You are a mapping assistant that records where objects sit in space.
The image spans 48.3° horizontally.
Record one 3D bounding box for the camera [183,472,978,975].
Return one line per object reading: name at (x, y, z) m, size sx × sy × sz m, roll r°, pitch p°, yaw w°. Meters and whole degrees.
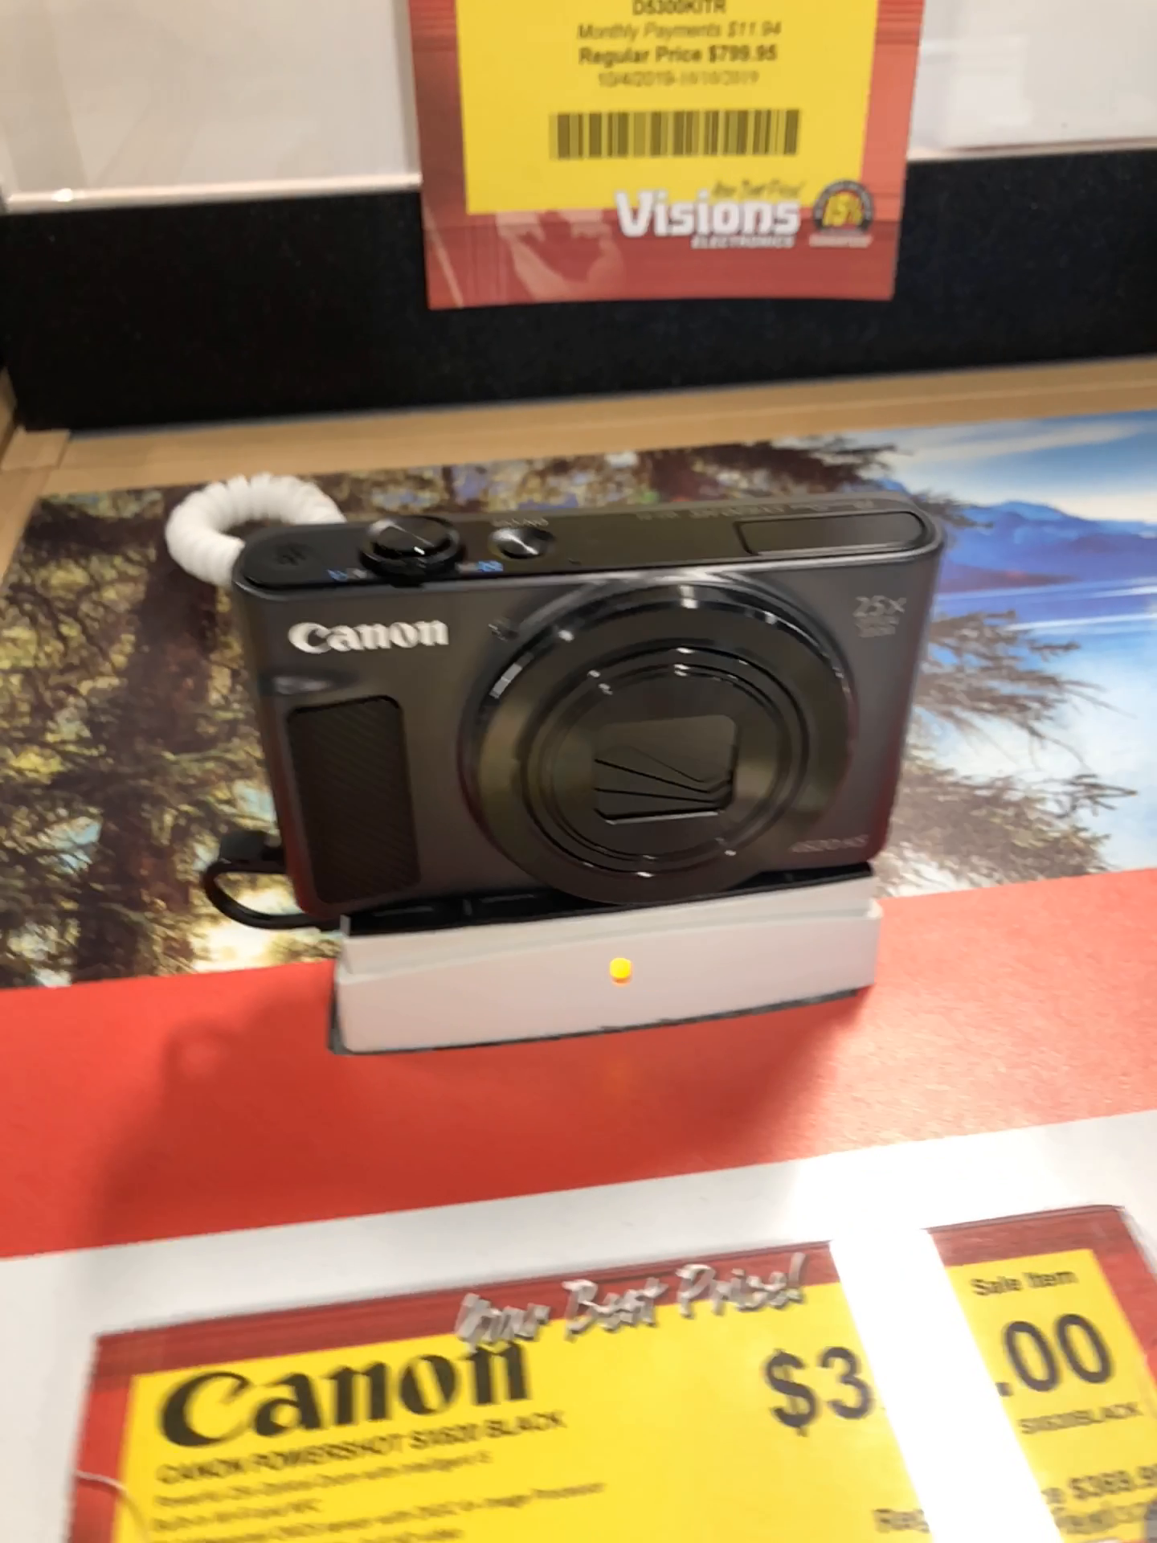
camera at (0.000, -0.007, 0.191) m, size 0.100 × 0.060 × 0.030 m, roll -5°, pitch 38°, yaw -4°
